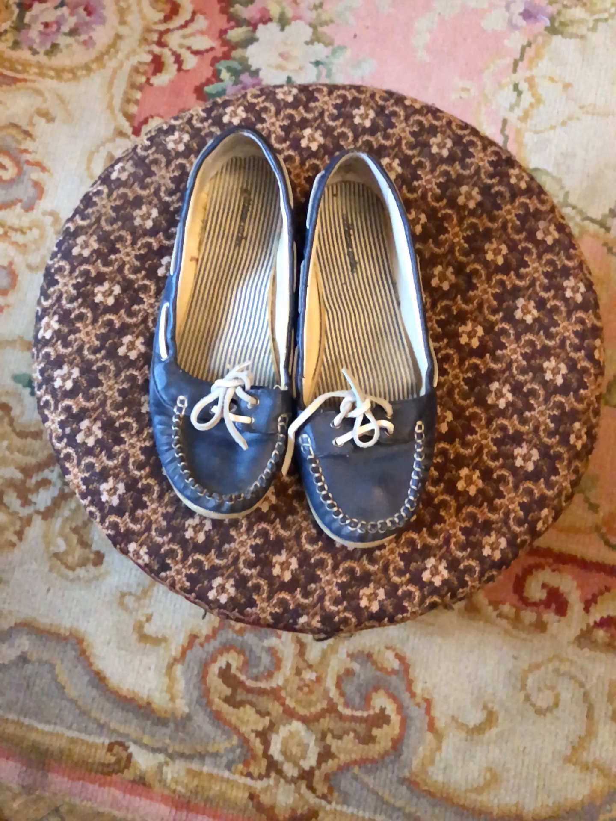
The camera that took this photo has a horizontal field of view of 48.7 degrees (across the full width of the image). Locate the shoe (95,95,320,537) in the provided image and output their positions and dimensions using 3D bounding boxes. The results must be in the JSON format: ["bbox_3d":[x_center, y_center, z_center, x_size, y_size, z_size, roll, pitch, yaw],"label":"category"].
[{"bbox_3d":[-0.050,-0.055,0.422,0.090,0.100,0.250,3,75,6],"label":"shoe"}]

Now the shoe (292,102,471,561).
[{"bbox_3d":[0.038,-0.041,0.406,0.090,0.090,0.250,1,81,-1],"label":"shoe"}]
